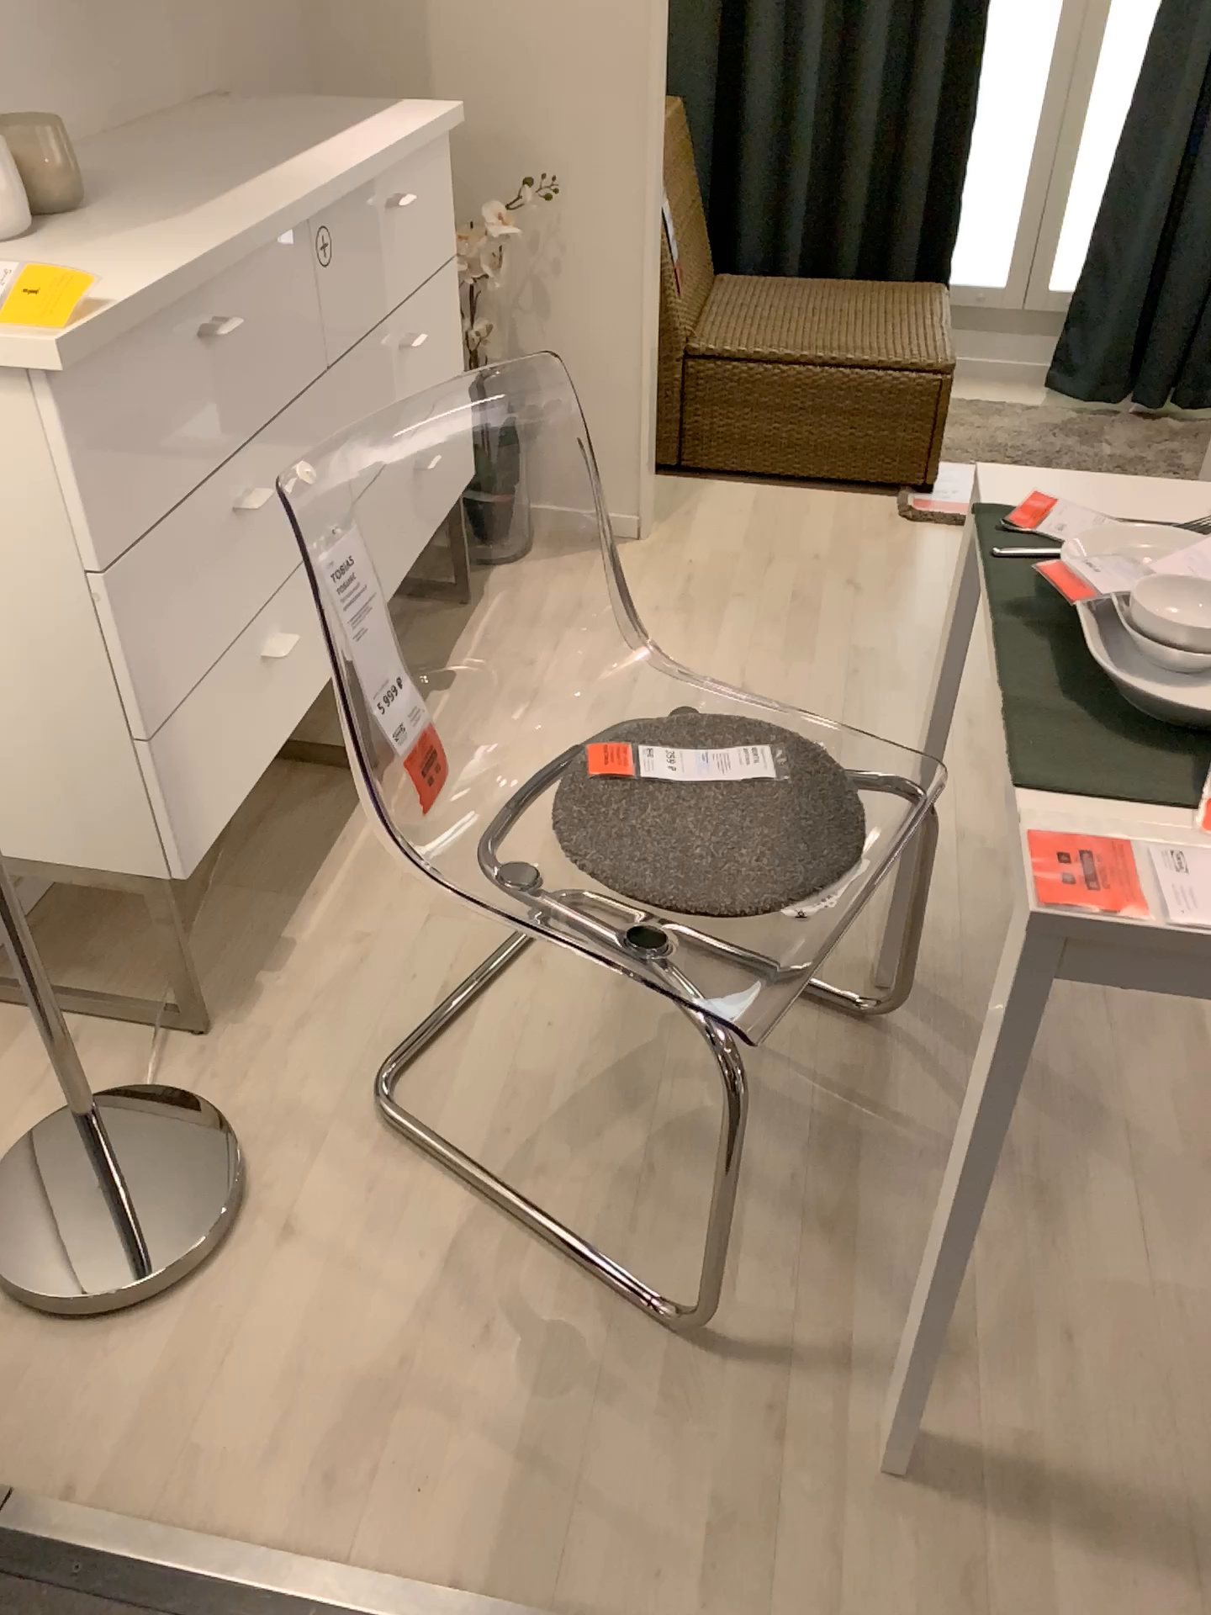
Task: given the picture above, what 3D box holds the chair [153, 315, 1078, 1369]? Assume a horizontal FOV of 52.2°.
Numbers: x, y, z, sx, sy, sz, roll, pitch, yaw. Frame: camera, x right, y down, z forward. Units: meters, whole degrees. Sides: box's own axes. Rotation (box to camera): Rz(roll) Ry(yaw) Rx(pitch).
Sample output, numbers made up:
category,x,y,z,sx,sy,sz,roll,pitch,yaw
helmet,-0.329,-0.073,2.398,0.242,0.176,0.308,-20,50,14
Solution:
category,x,y,z,sx,sy,sz,roll,pitch,yaw
chair,0.031,0.002,1.334,0.592,0.791,0.593,22,43,25
